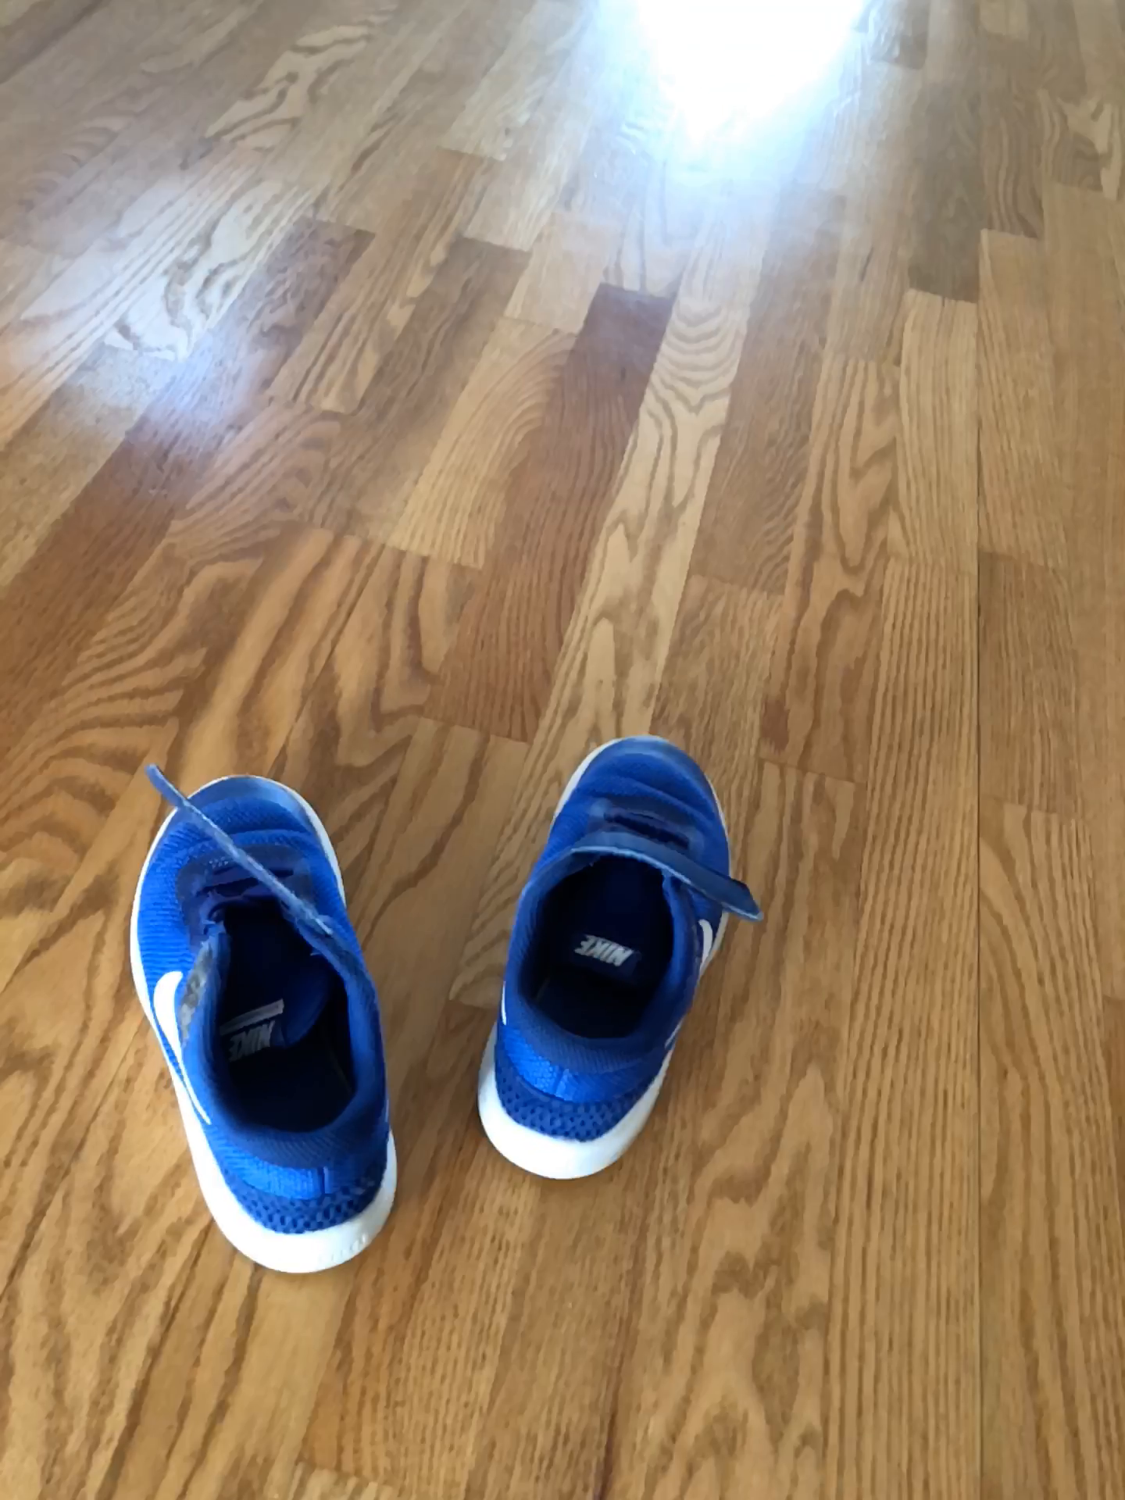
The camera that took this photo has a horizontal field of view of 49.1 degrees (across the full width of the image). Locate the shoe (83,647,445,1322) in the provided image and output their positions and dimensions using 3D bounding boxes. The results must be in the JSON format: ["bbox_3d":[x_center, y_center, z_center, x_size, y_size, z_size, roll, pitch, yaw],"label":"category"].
[{"bbox_3d":[-0.115,0.075,0.456,0.093,0.092,0.215,-8,51,-16],"label":"shoe"}]

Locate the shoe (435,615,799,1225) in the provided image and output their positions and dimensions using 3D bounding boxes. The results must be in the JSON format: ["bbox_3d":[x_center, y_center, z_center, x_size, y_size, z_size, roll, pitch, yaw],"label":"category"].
[{"bbox_3d":[0.027,0.059,0.502,0.093,0.092,0.215,15,49,3],"label":"shoe"}]
